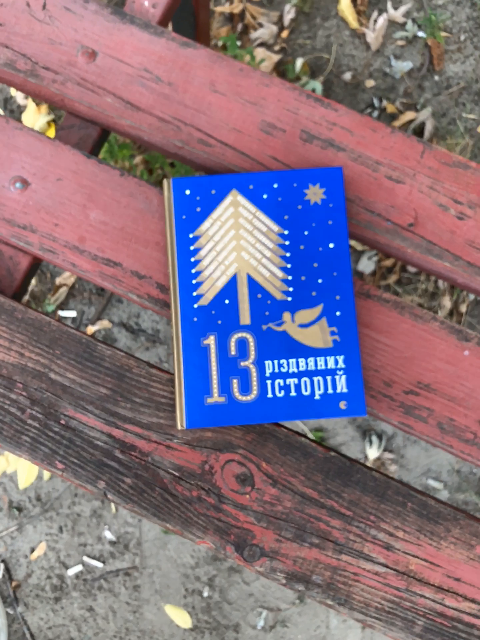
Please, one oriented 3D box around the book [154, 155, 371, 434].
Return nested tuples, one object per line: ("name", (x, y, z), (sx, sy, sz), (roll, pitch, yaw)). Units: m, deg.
("book", (0.015, -0.022, 0.430), (0.155, 0.020, 0.212), (-4, 83, 0))
